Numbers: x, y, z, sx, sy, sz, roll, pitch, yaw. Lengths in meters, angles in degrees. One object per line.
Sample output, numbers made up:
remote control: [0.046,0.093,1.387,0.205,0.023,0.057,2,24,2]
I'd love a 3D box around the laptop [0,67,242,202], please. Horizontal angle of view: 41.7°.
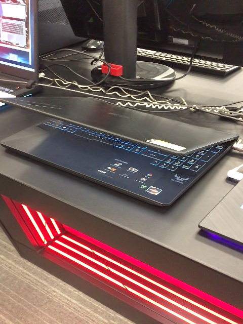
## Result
laptop: [-0.013,-0.080,0.616,0.378,0.088,0.253,19,41,26]
